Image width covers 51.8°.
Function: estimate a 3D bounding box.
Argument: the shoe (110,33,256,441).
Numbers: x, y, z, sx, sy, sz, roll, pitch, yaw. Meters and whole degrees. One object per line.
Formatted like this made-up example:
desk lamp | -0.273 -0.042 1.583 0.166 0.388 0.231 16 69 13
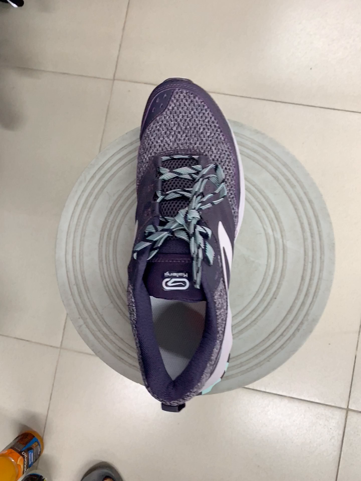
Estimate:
shoe | 0.008 -0.005 0.323 0.100 0.110 0.290 1 86 6
